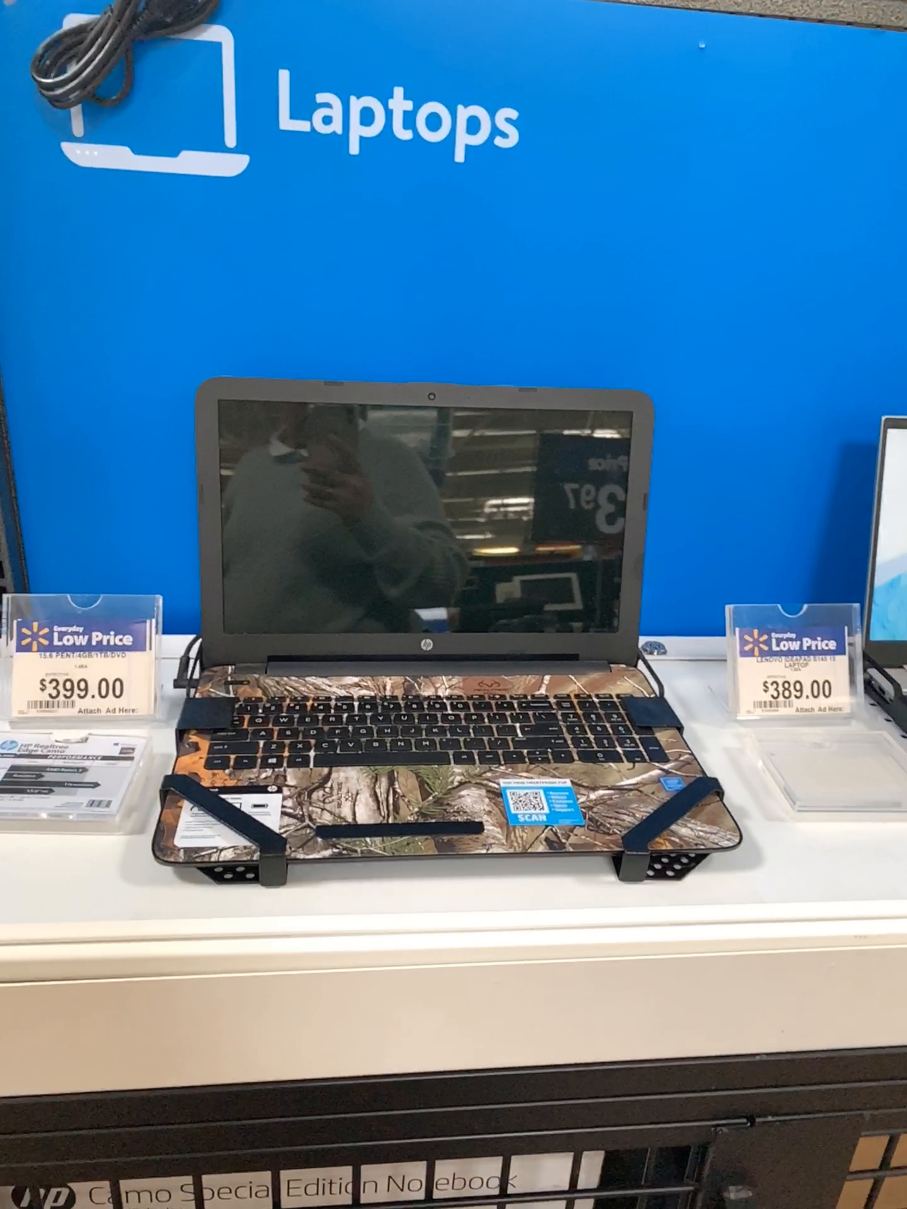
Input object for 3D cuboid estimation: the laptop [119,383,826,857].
[{"bbox_3d":[-0.007,-0.011,0.672,0.374,0.227,0.304,0,24,-7],"label":"laptop"}]
